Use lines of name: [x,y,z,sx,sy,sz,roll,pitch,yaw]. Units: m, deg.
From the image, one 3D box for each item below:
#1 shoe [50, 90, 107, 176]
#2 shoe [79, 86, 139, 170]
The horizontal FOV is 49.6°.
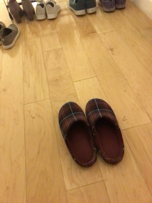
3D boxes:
shoe: [-0.002,0.096,0.596,0.120,0.070,0.282,-17,51,-6]
shoe: [0.101,0.079,0.595,0.120,0.070,0.282,-12,51,-3]
